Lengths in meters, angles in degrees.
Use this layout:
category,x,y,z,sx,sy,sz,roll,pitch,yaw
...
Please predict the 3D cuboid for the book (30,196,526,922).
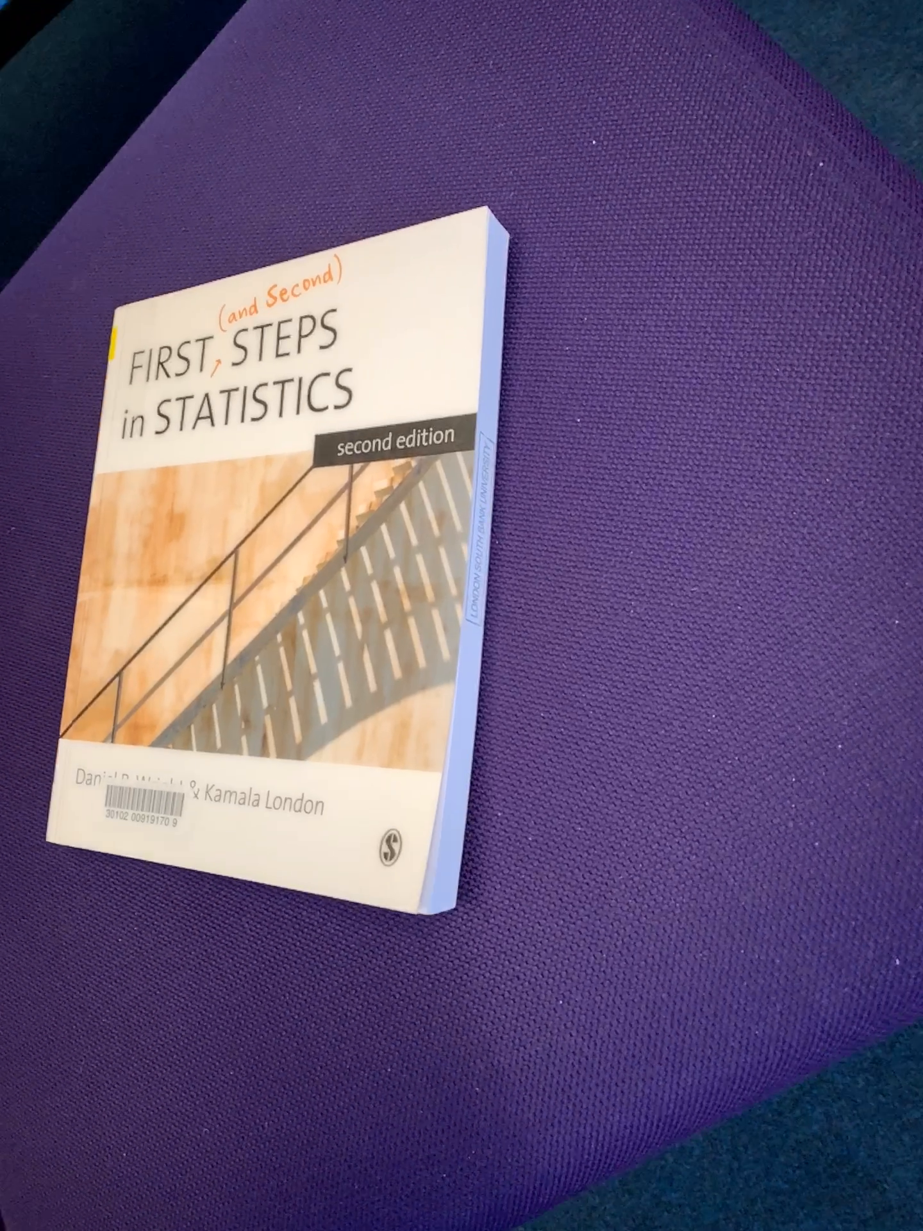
category,x,y,z,sx,sy,sz,roll,pitch,yaw
book,-0.073,-0.021,0.348,0.189,0.022,0.229,-1,79,31
